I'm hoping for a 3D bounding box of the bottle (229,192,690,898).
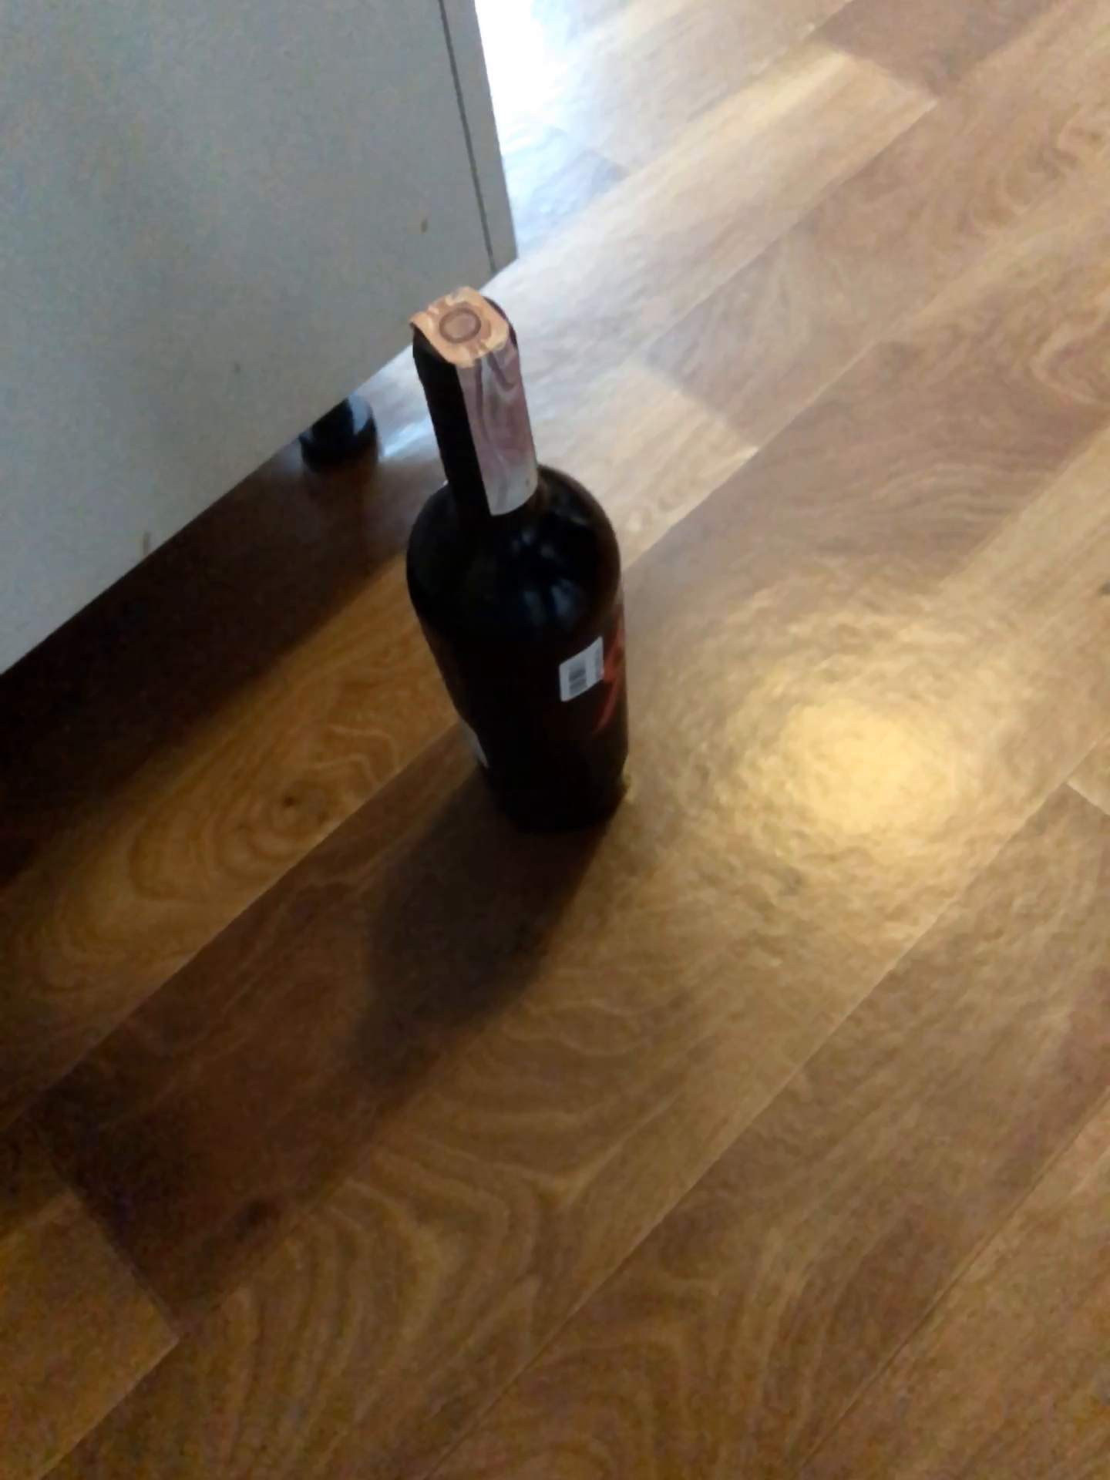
[{"bbox_3d":[-0.014,-0.045,0.477,0.090,0.297,0.090,-3,65,6],"label":"bottle"}]
